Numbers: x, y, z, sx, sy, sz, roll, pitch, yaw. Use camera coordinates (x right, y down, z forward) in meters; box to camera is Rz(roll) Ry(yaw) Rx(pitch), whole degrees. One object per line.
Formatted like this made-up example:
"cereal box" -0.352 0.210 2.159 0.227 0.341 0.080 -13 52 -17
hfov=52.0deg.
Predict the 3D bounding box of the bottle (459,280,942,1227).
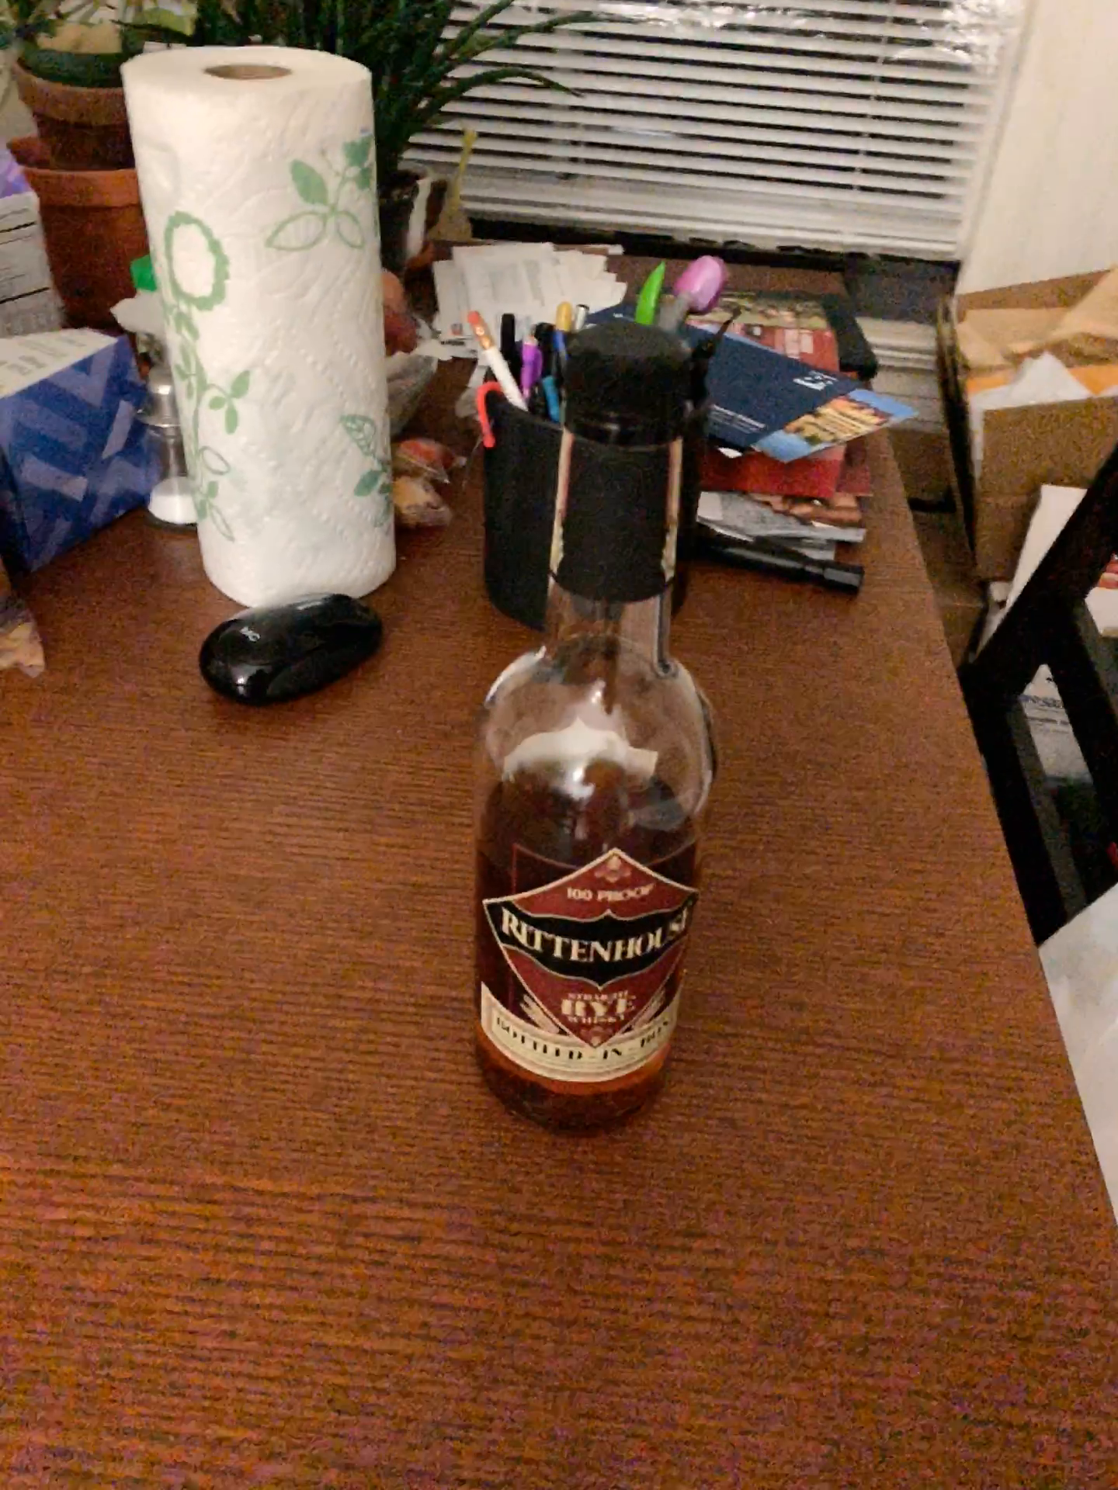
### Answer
"bottle" 0.018 0.024 0.344 0.090 0.288 0.091 2 39 -2
